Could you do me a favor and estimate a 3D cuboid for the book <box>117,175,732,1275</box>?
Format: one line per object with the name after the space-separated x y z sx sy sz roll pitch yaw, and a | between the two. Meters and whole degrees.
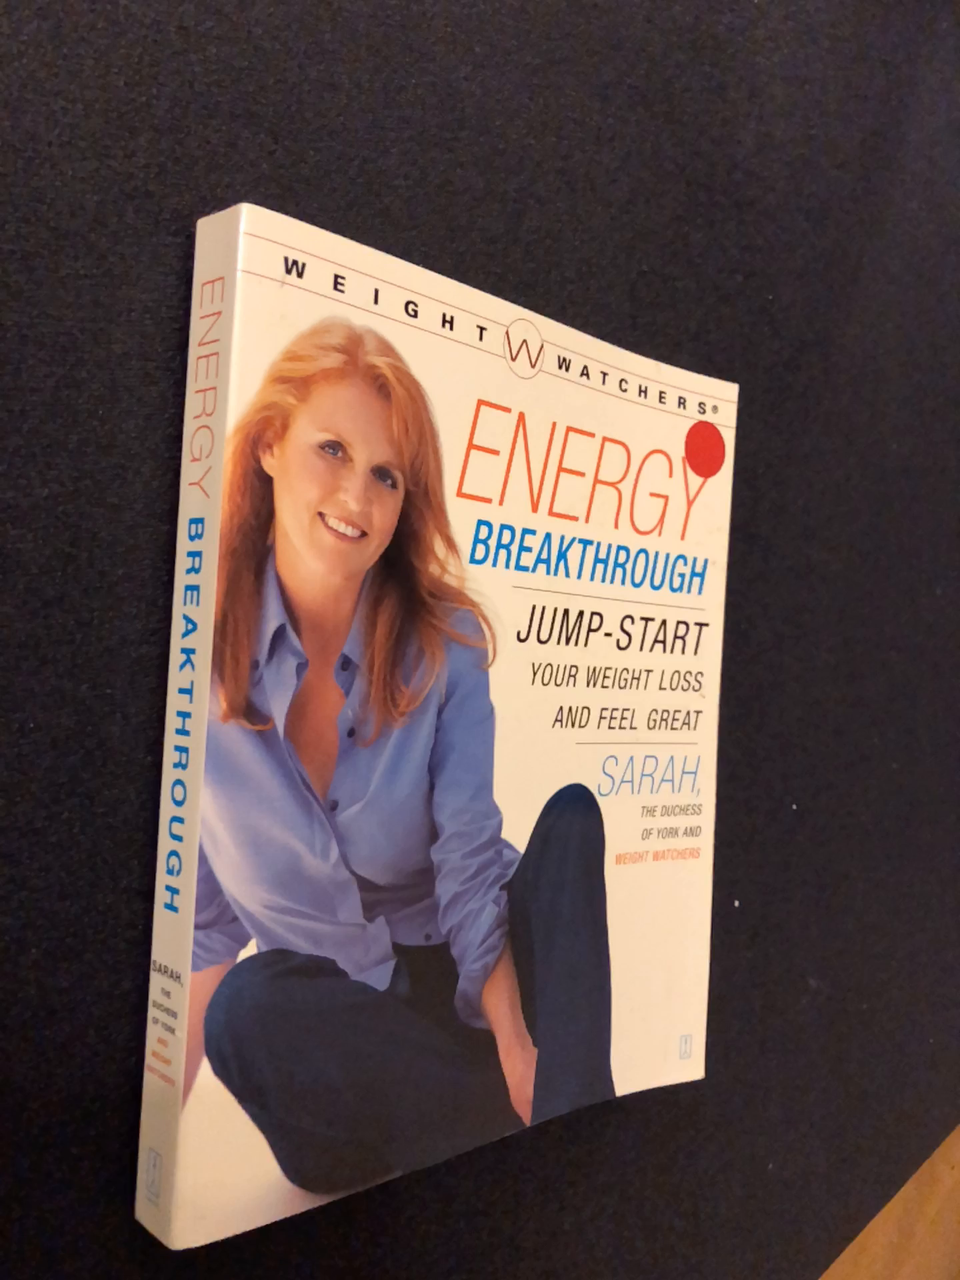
0.001 0.022 0.301 0.186 0.030 0.234 5 88 -43 | book
